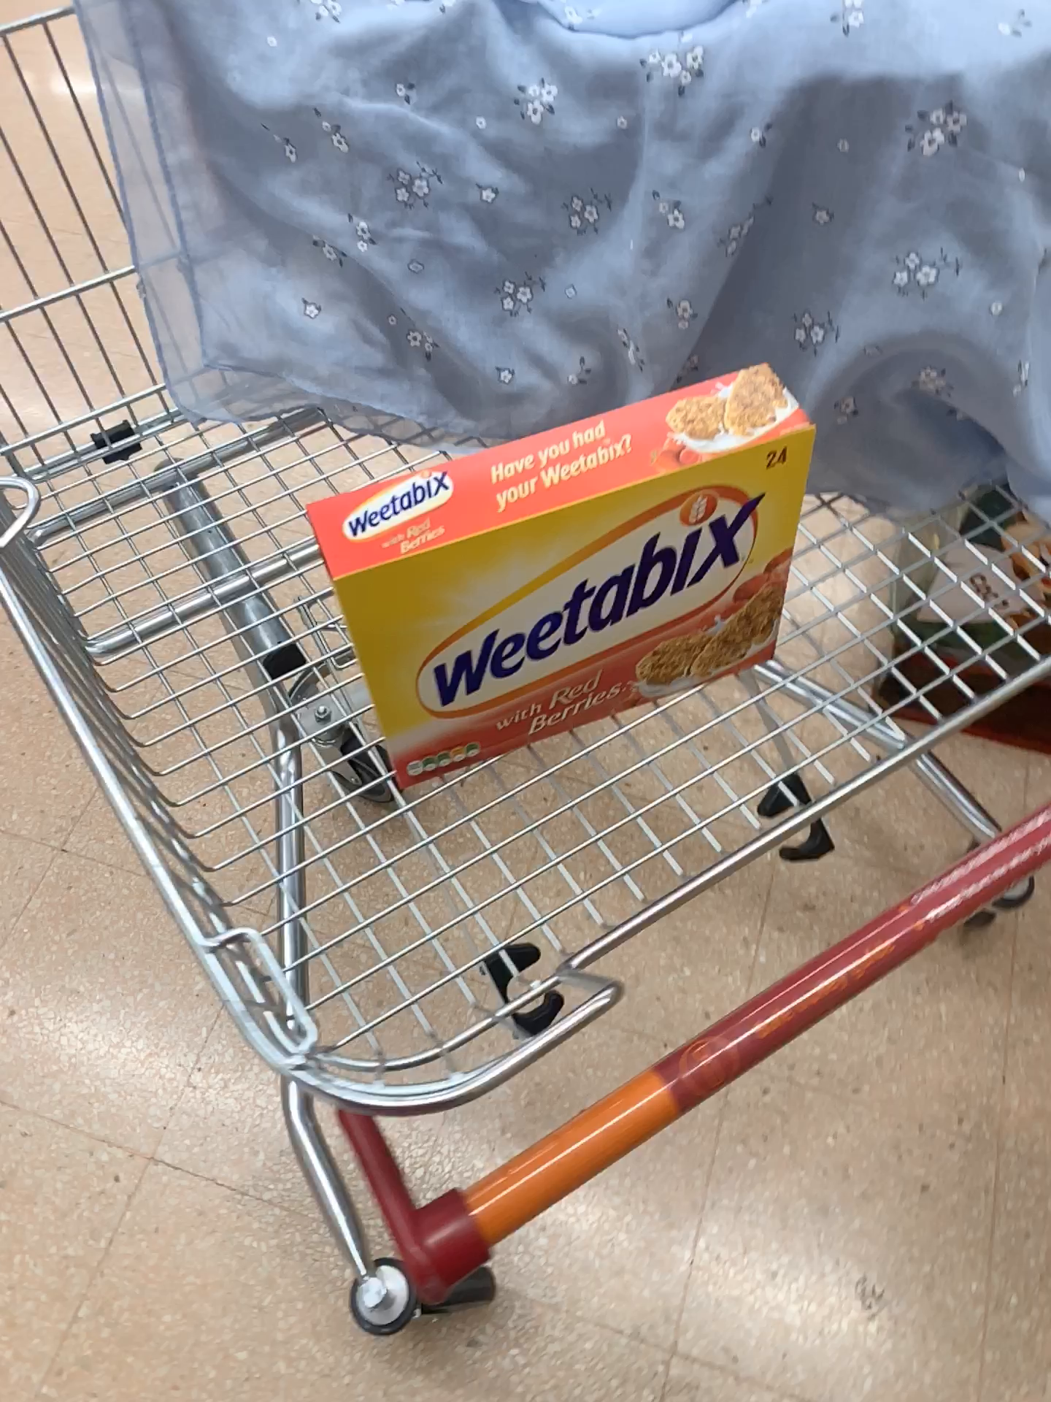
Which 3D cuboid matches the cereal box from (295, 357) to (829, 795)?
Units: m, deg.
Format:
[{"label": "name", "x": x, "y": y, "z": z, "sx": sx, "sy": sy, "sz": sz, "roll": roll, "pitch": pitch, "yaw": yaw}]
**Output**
[{"label": "cereal box", "x": 0.024, "y": -0.063, "z": 0.604, "sx": 0.260, "sy": 0.189, "sz": 0.060, "roll": -19, "pitch": 55, "yaw": -11}]
